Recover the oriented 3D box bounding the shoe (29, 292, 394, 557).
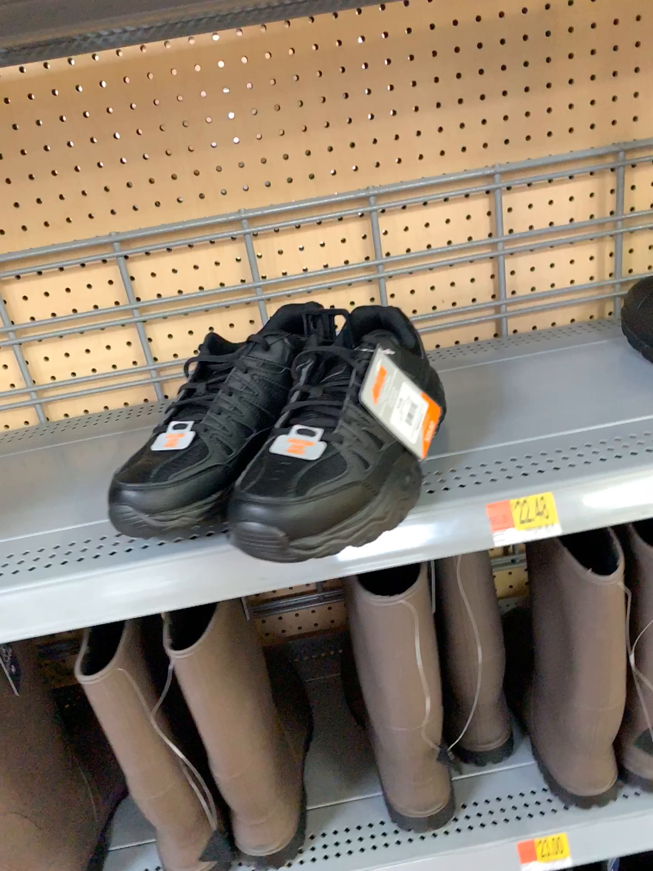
[{"bbox_3d":[-0.076,-0.034,0.589,0.139,0.104,0.297,7,29,33],"label":"shoe"}]

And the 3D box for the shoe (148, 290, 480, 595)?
[{"bbox_3d":[0.018,-0.020,0.528,0.135,0.104,0.297,2,27,26],"label":"shoe"}]
